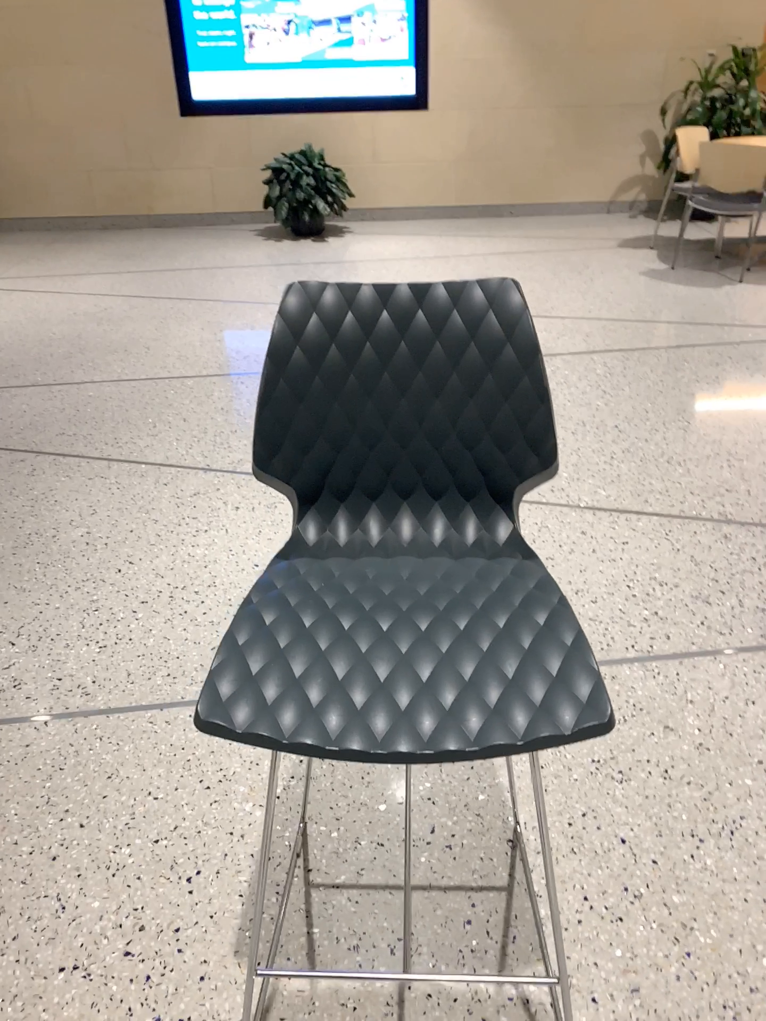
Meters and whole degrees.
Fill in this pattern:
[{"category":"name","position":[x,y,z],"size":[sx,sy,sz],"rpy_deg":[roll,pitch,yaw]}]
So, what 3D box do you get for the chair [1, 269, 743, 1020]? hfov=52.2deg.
[{"category":"chair","position":[0.013,0.254,1.037],"size":[0.534,0.996,0.536],"rpy_deg":[1,30,4]}]
